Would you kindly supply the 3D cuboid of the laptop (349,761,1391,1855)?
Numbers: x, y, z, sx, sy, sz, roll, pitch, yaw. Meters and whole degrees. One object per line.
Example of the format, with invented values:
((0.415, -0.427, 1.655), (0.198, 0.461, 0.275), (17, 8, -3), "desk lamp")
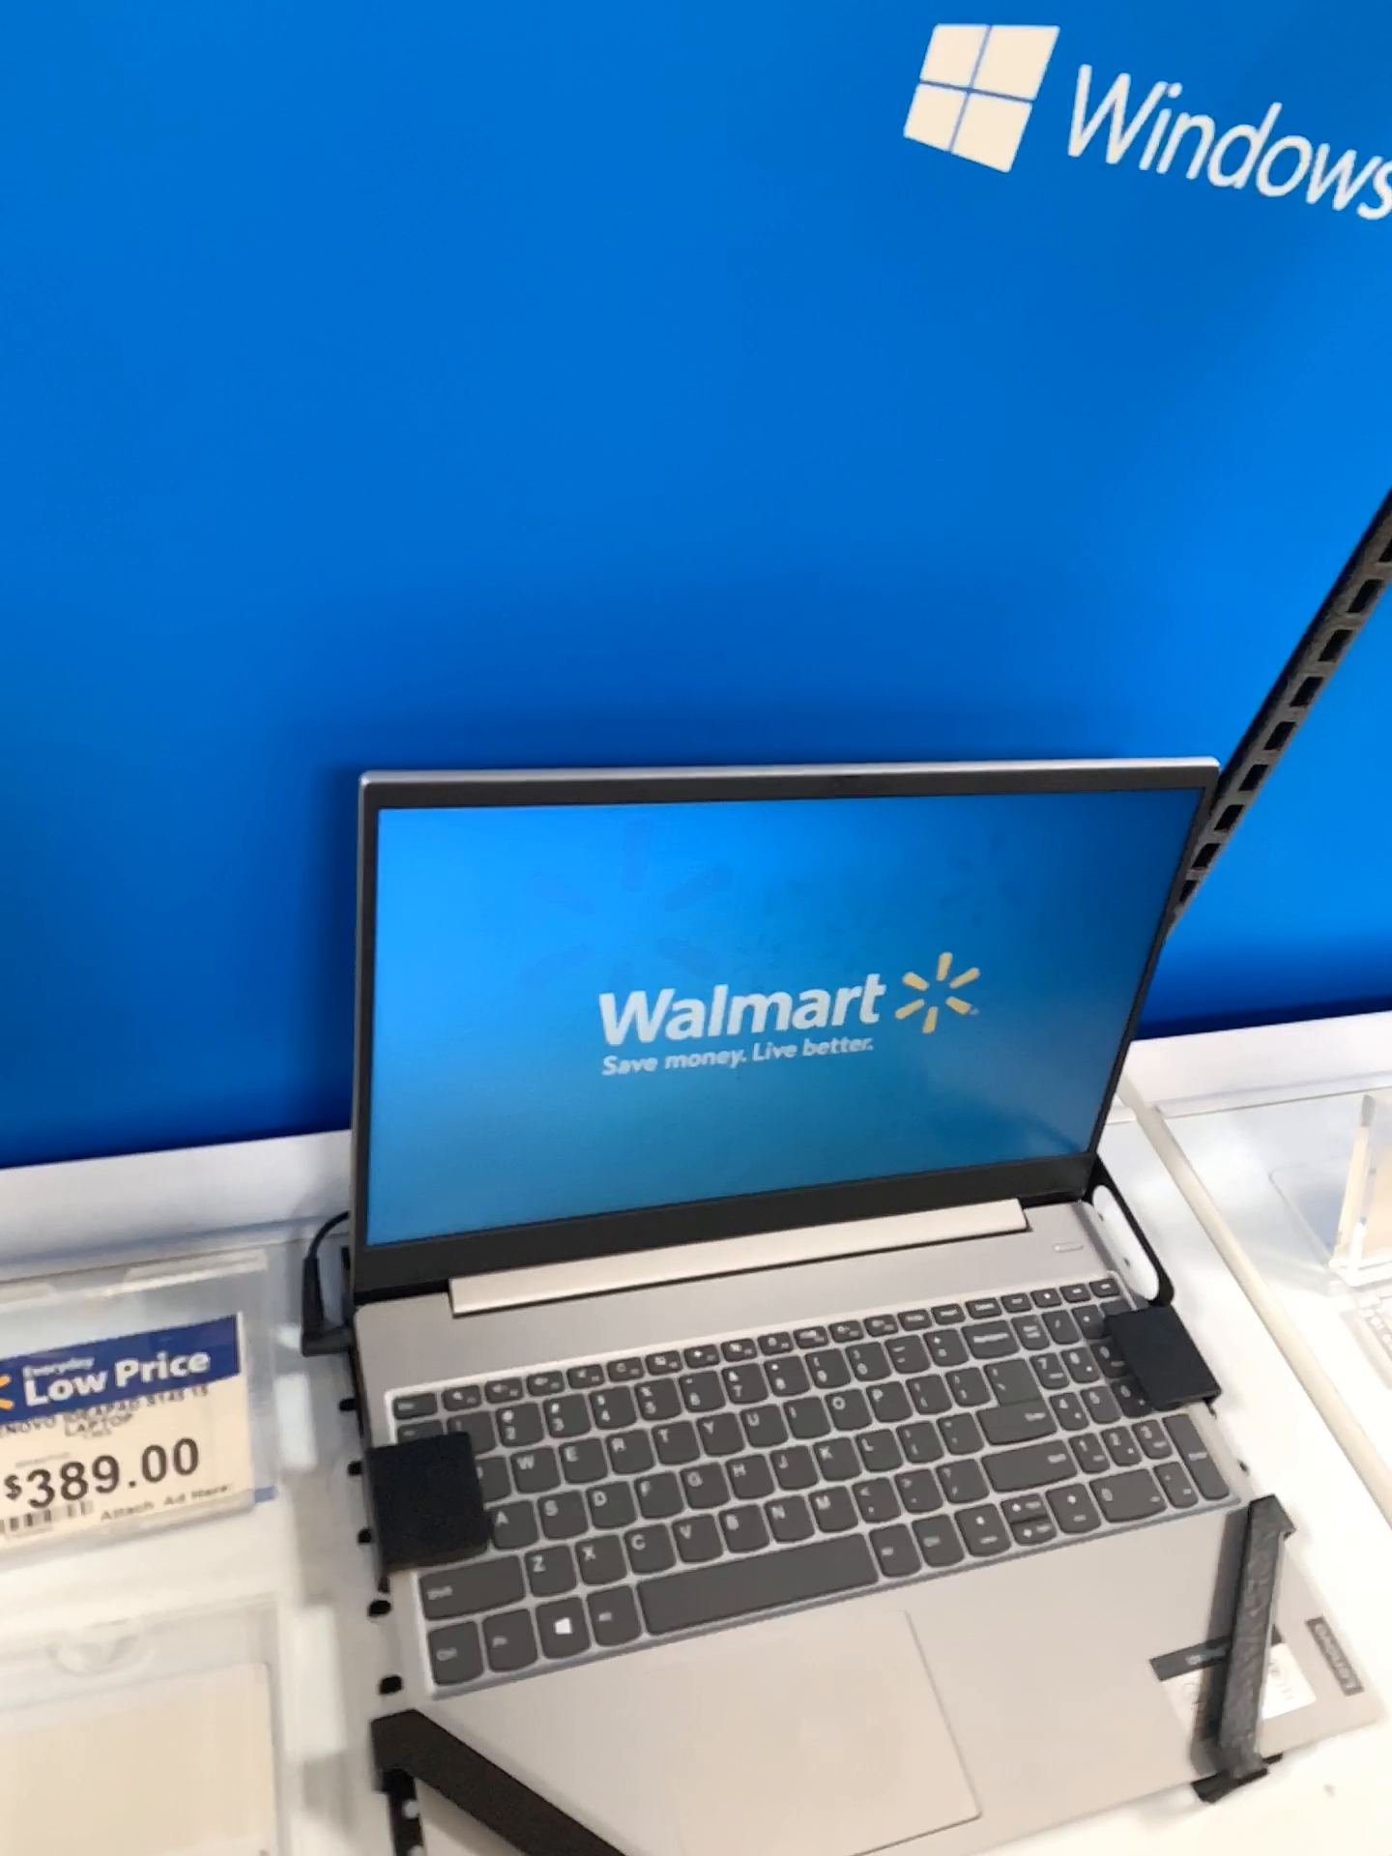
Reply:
((0.076, 0.126, 0.503), (0.350, 0.217, 0.299), (-4, 46, -20), "laptop")
